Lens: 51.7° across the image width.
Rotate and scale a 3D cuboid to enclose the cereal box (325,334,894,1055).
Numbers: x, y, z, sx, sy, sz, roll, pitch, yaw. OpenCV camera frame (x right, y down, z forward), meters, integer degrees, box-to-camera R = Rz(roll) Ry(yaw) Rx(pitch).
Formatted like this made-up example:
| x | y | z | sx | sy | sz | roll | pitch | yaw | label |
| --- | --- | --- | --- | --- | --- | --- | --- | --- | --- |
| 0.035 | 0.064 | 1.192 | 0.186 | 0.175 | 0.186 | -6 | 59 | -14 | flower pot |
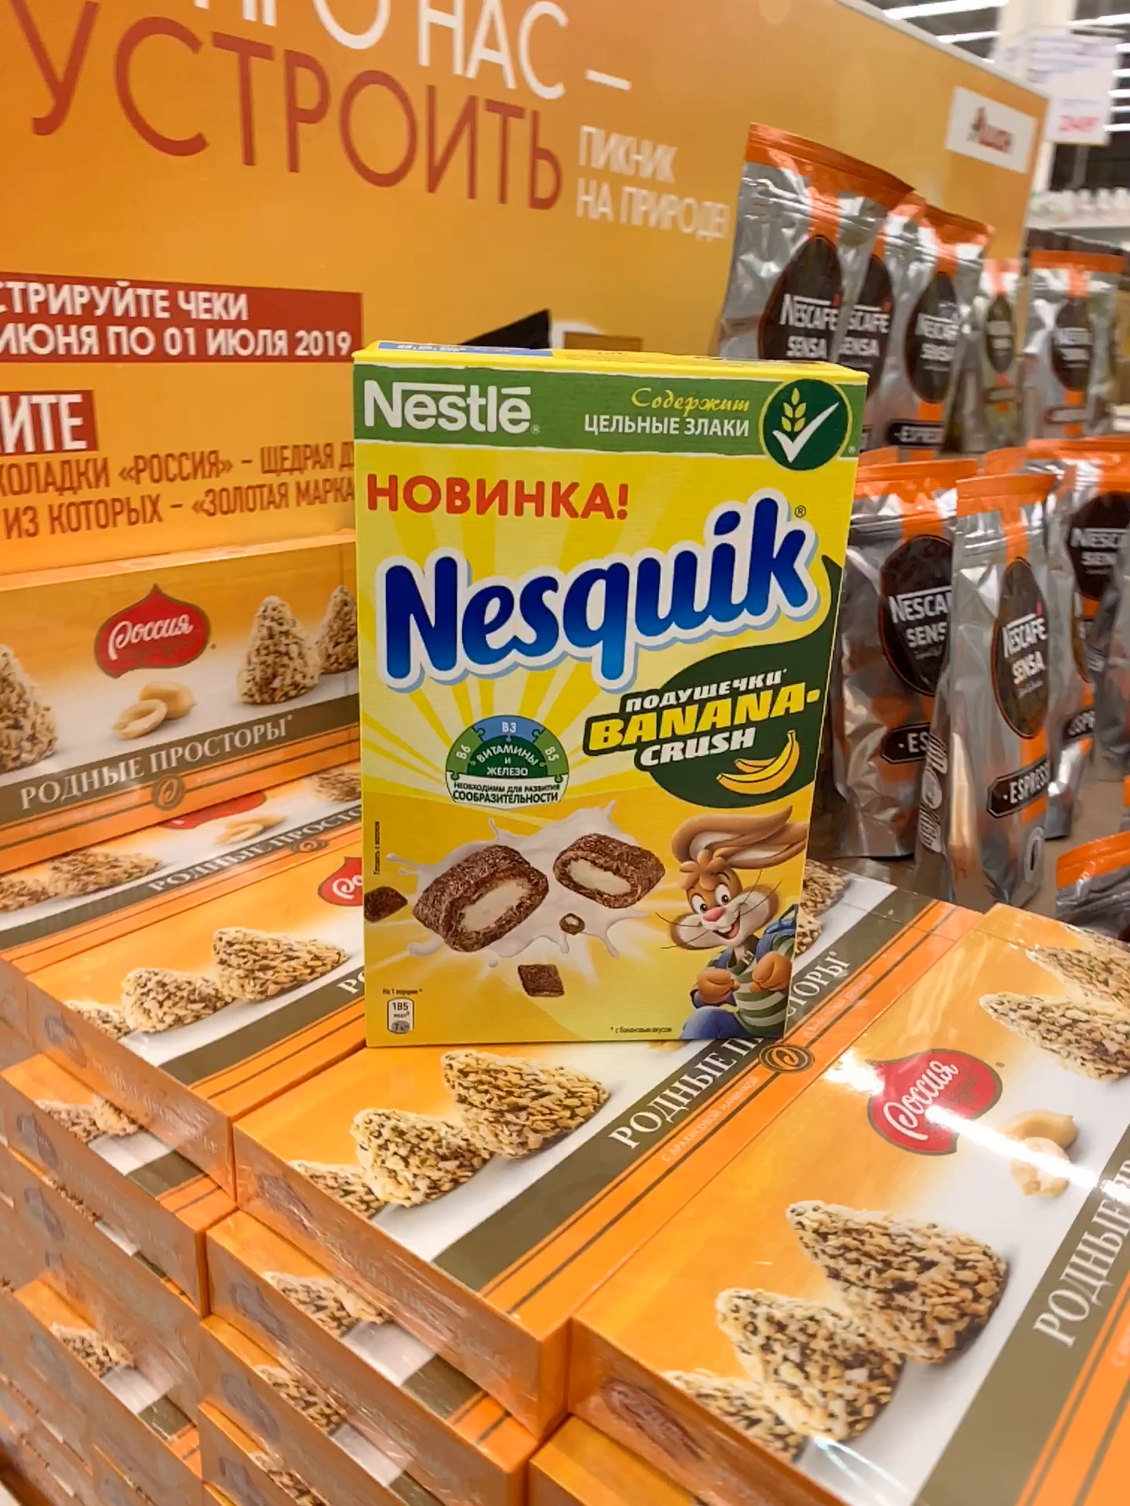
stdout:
| x | y | z | sx | sy | sz | roll | pitch | yaw | label |
| --- | --- | --- | --- | --- | --- | --- | --- | --- | --- |
| 0.008 | -0.014 | 0.387 | 0.160 | 0.229 | 0.050 | 0 | 19 | -5 | cereal box |
